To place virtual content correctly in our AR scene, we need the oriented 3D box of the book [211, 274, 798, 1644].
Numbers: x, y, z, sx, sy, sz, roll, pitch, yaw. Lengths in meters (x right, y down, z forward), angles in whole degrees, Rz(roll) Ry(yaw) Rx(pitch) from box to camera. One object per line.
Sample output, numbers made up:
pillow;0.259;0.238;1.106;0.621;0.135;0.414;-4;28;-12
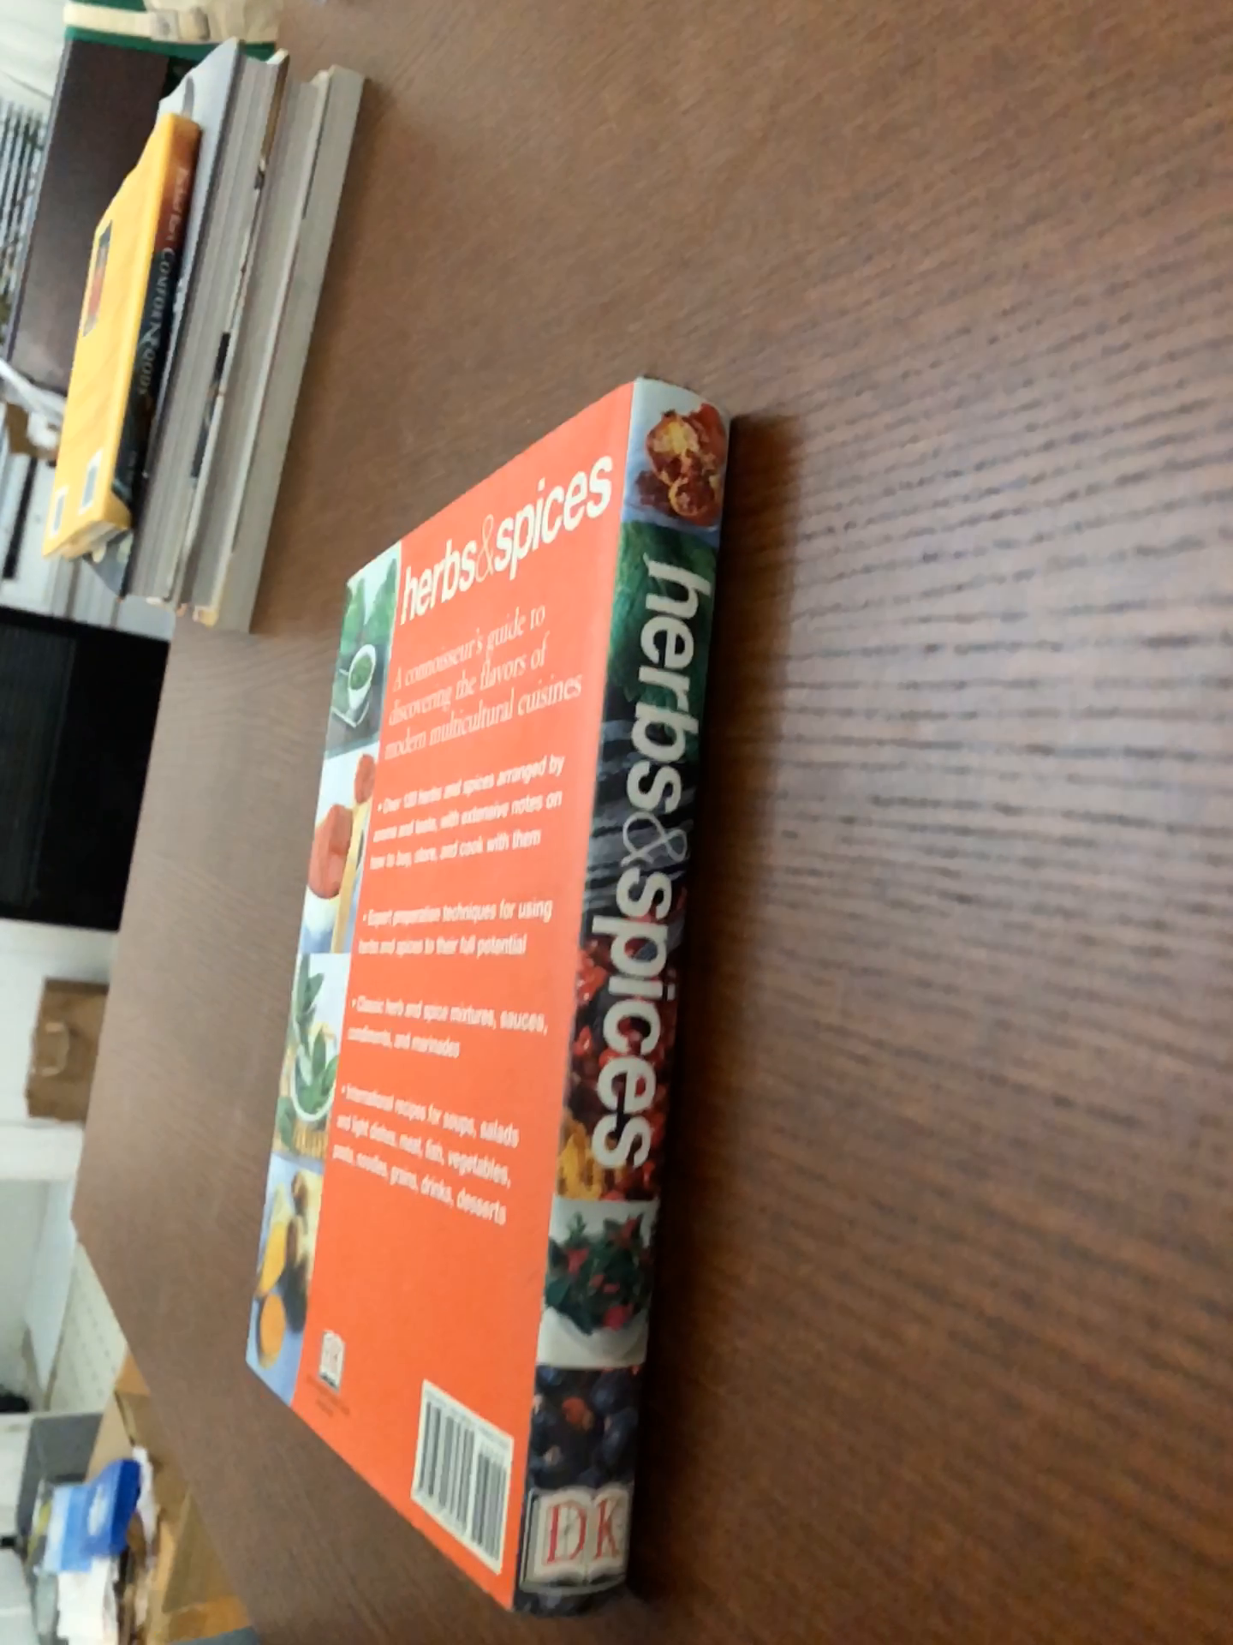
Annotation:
book;-0.043;0.029;0.366;0.211;0.040;0.270;-8;74;60
